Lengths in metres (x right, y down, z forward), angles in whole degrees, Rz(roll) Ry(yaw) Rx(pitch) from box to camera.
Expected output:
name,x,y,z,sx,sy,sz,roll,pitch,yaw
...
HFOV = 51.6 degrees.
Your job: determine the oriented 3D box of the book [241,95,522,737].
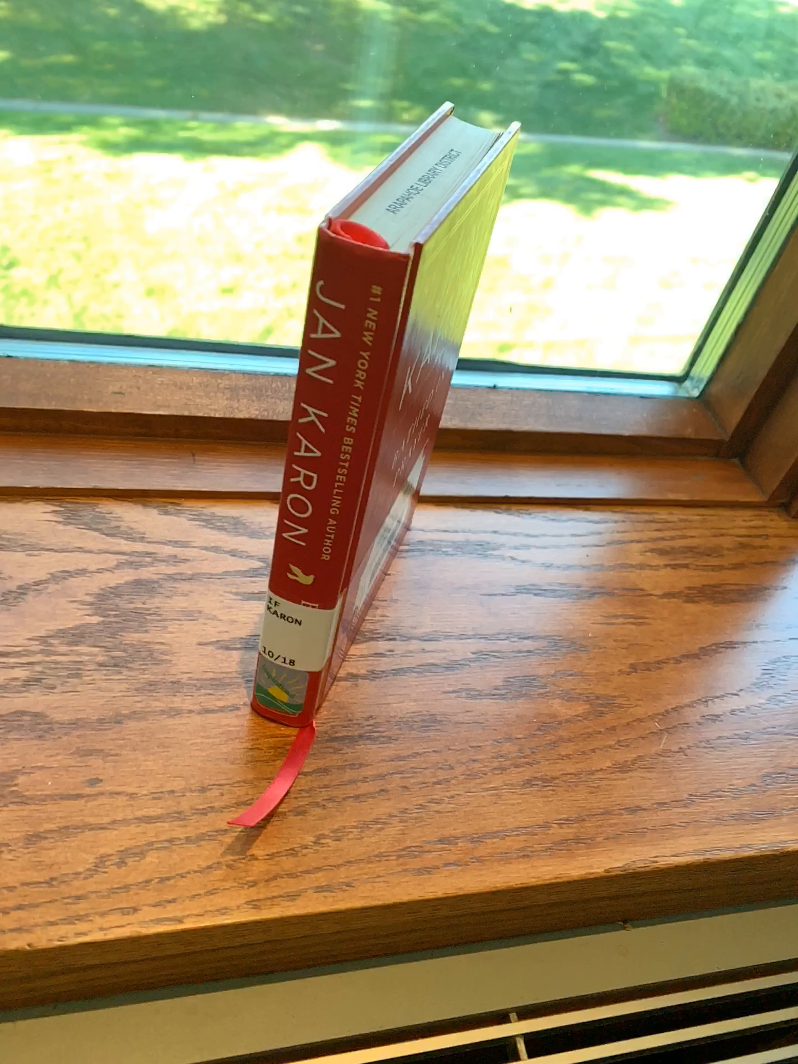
name,x,y,z,sx,sy,sz,roll,pitch,yaw
book,-0.007,-0.037,0.277,0.028,0.169,0.135,19,42,7
